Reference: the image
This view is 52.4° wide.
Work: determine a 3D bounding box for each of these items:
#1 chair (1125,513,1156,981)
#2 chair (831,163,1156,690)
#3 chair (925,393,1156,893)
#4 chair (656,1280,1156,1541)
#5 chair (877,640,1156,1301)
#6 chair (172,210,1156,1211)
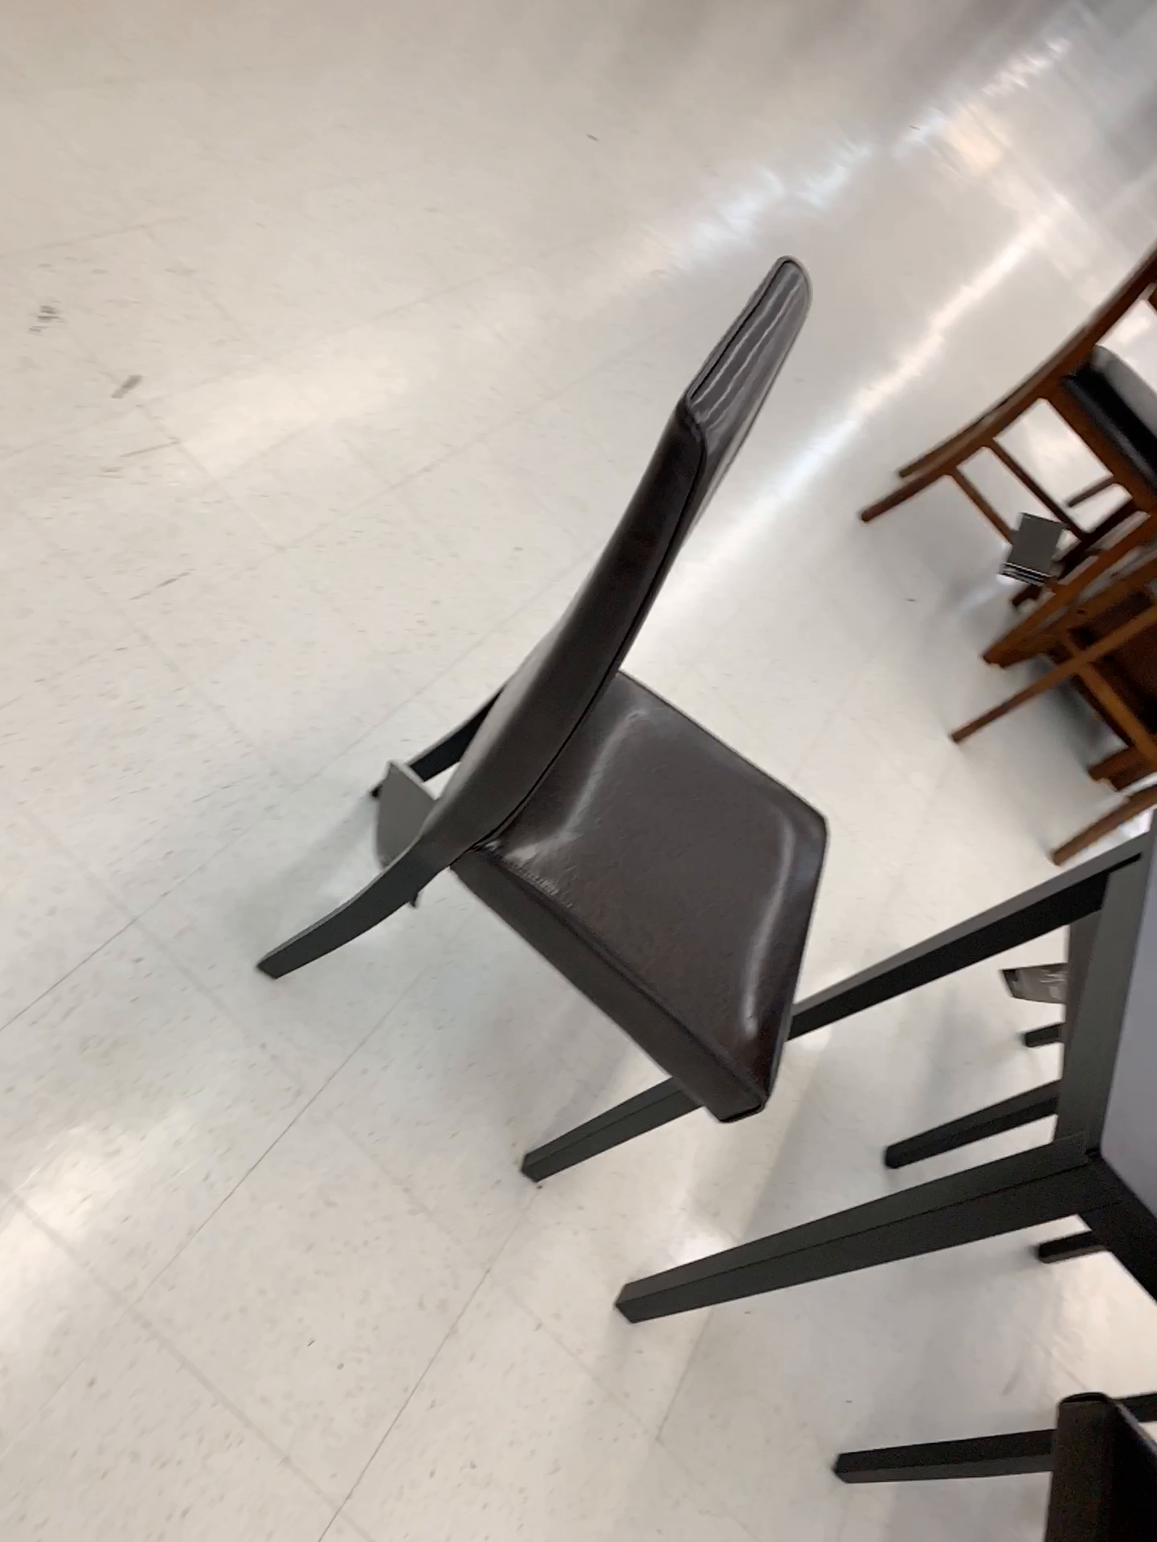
[{"bbox_3d":[2.041,-0.031,2.926,0.644,0.980,0.466,51,42,1],"label":"chair"},{"bbox_3d":[1.262,-0.798,2.849,0.644,1.010,0.466,49,42,-1],"label":"chair"},{"bbox_3d":[1.387,-0.264,2.560,0.464,0.980,0.647,53,42,4],"label":"chair"},{"bbox_3d":[0.615,0.950,1.092,0.414,0.931,0.597,45,42,-5],"label":"chair"},{"bbox_3d":[0.977,0.355,1.824,0.414,0.931,0.597,36,44,-15],"label":"chair"},{"bbox_3d":[0.077,0.027,1.291,0.594,0.931,0.426,39,43,-12],"label":"chair"}]
